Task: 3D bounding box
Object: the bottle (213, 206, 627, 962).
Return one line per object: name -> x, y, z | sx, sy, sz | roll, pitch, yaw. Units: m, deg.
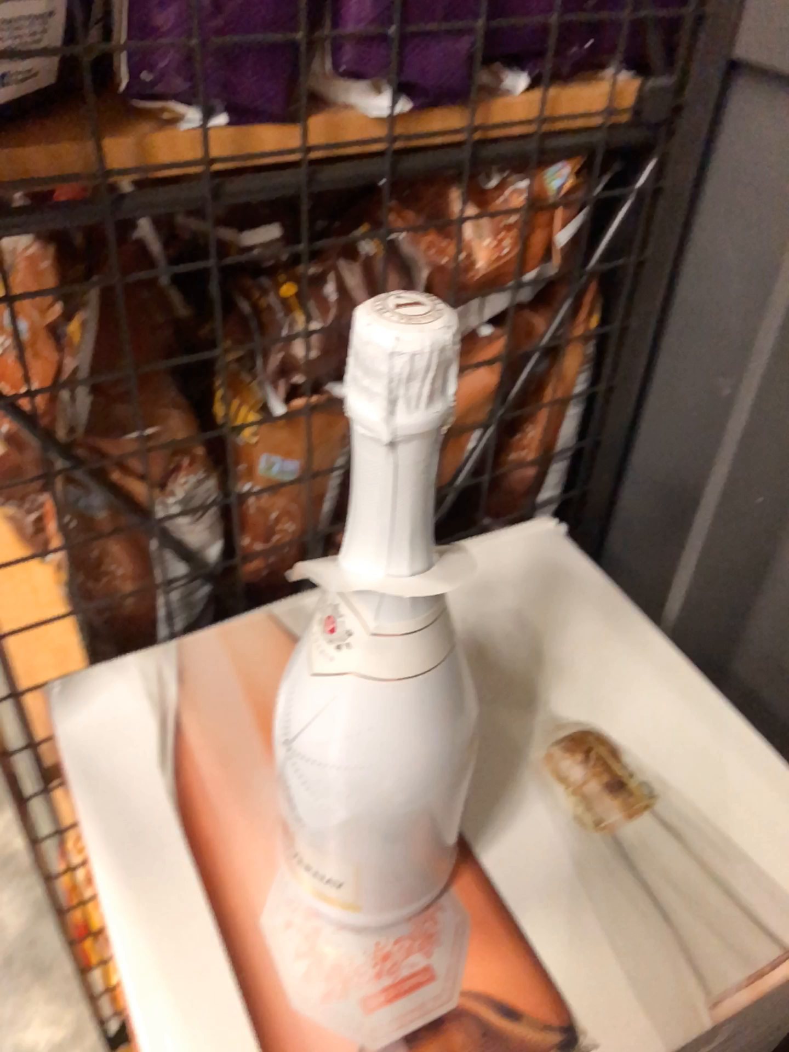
bottle -> -0.002, 0.045, 0.361 | 0.094, 0.310, 0.086 | 2, 39, -2
